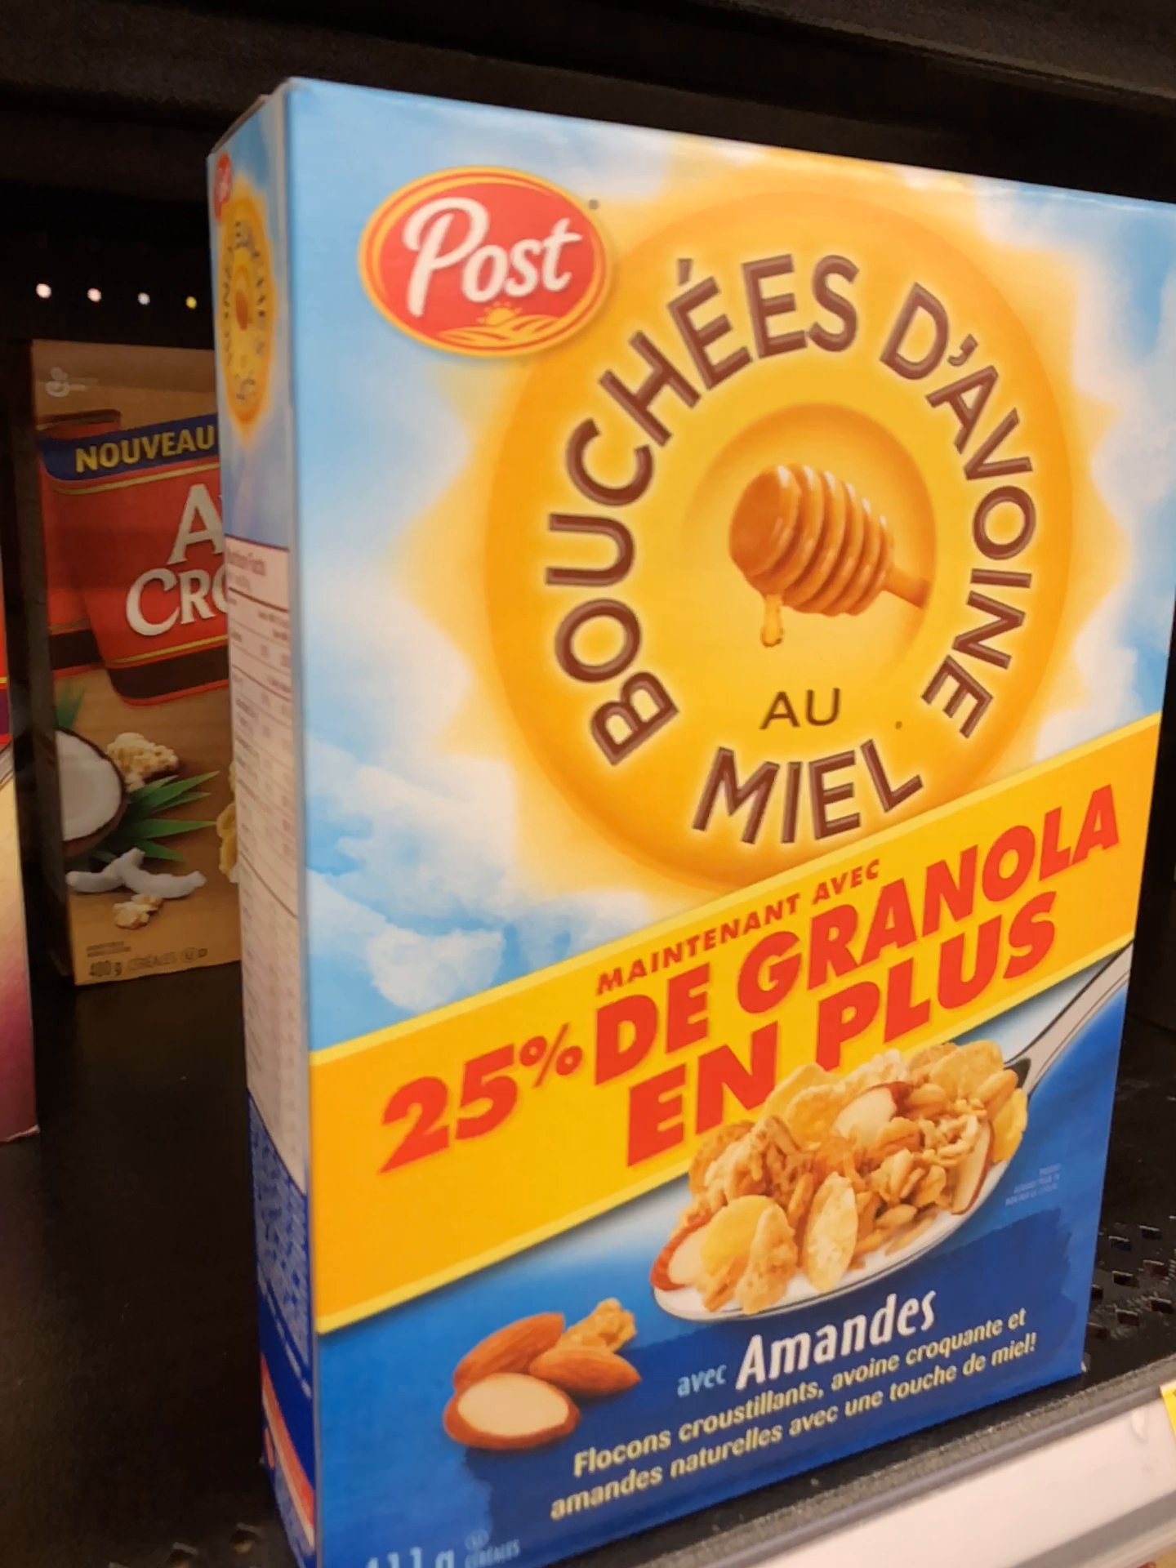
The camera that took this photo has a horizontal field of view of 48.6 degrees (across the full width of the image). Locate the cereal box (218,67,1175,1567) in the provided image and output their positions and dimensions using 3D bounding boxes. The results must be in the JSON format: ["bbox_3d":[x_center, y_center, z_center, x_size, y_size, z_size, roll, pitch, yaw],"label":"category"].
[{"bbox_3d":[0.027,0.014,0.281,0.190,0.269,0.060,-4,13,-24],"label":"cereal box"}]
